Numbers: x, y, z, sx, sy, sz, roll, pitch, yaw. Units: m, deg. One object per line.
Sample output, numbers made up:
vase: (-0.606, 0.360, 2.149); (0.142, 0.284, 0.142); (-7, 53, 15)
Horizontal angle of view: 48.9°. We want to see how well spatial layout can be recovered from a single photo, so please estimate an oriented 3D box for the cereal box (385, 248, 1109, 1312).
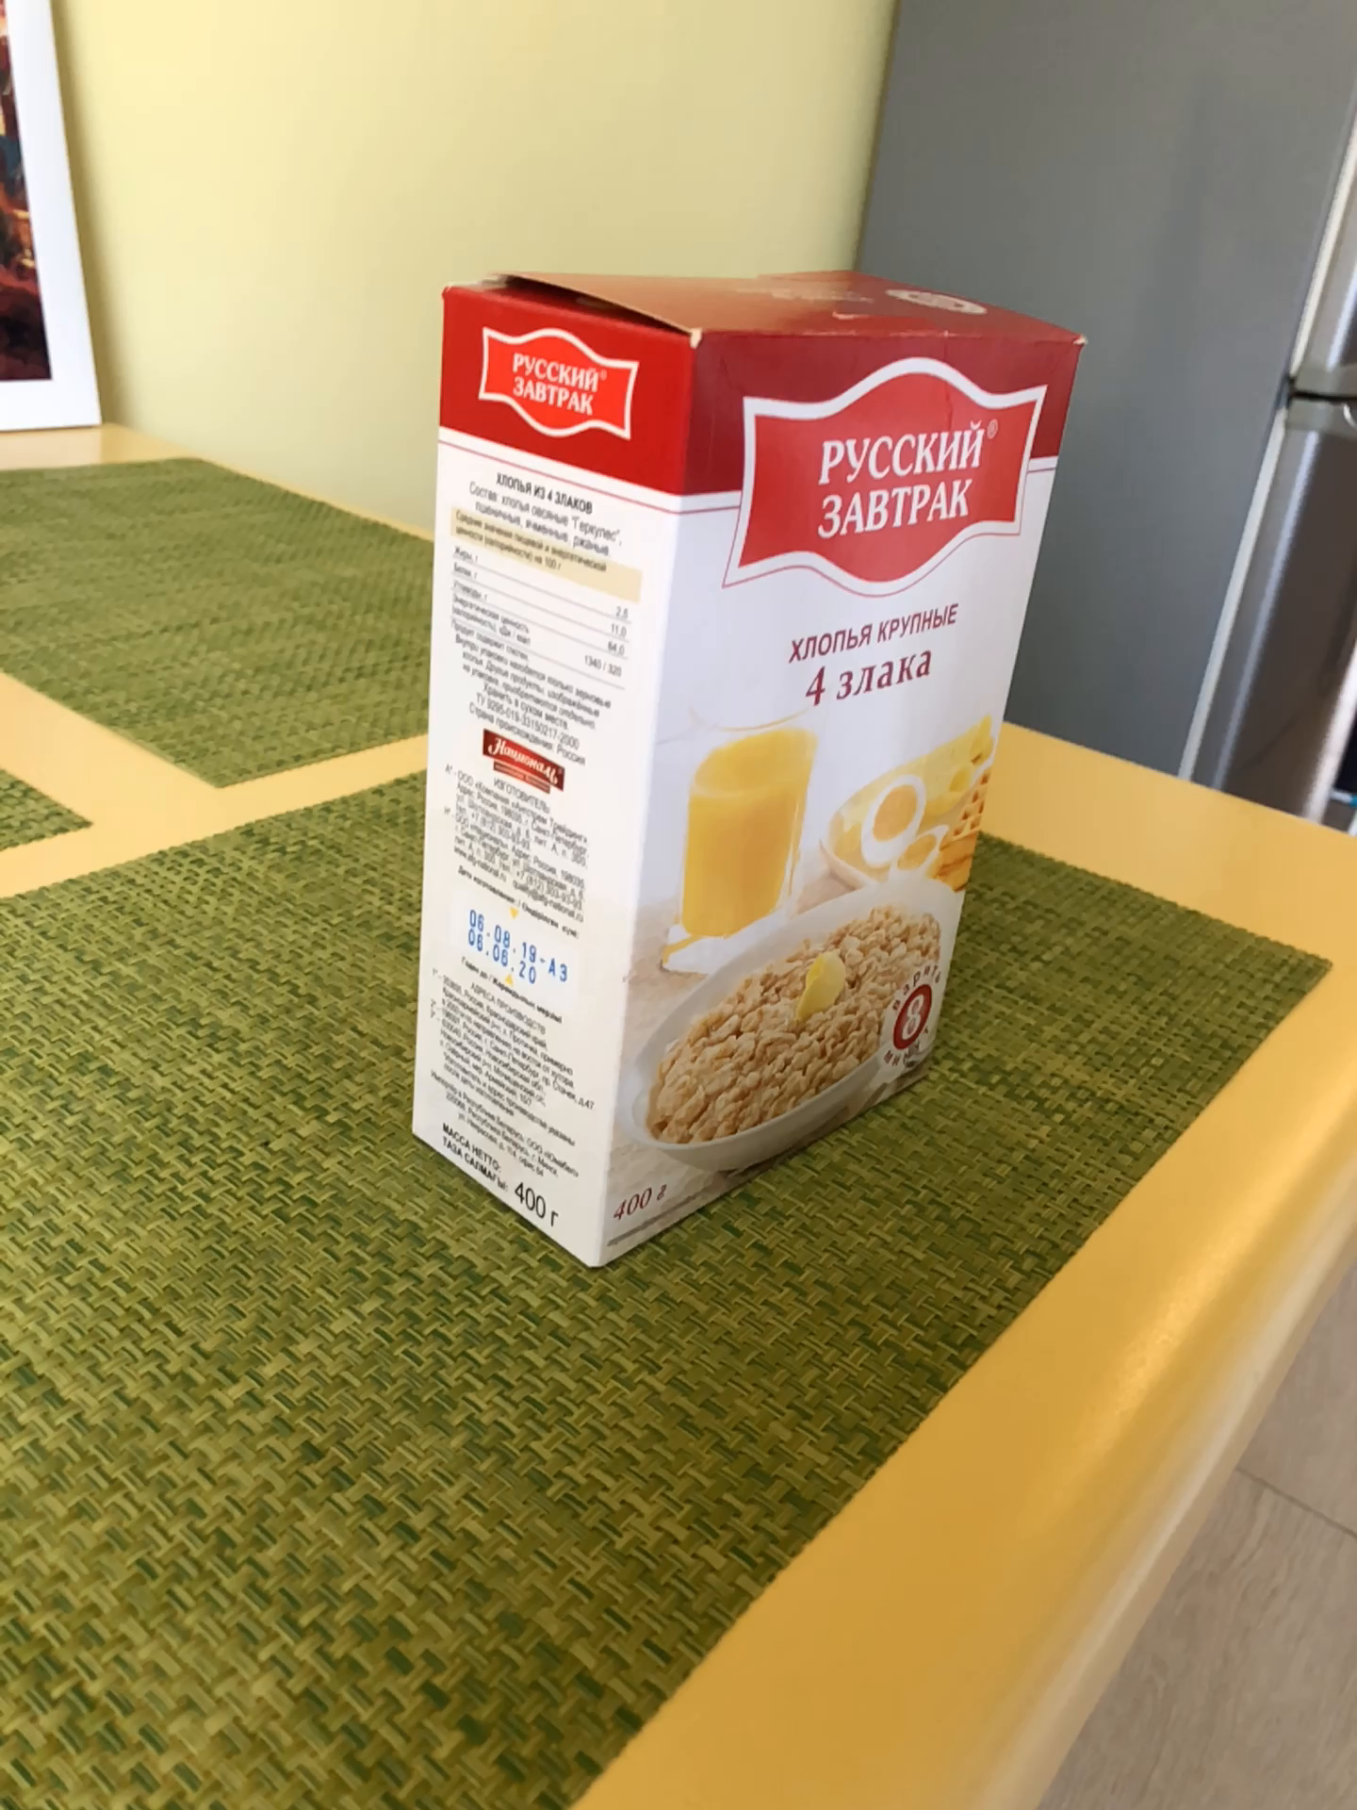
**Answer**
cereal box: (0.012, -0.033, 0.339); (0.070, 0.199, 0.131); (27, 31, 35)
